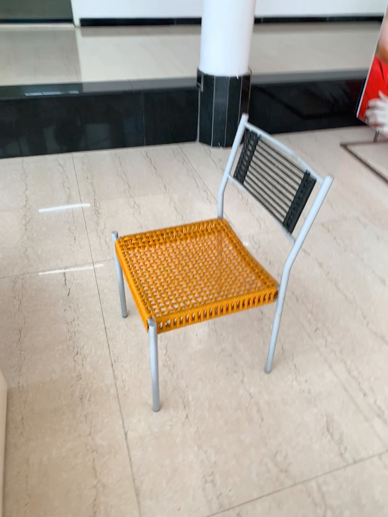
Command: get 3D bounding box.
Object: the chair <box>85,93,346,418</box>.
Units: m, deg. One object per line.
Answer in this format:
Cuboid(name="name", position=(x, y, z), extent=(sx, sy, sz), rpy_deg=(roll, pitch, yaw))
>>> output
Cuboid(name="chair", position=(0.004, -0.017, 1.268), extent=(0.510, 0.803, 0.524), rpy_deg=(-12, 41, -17))
